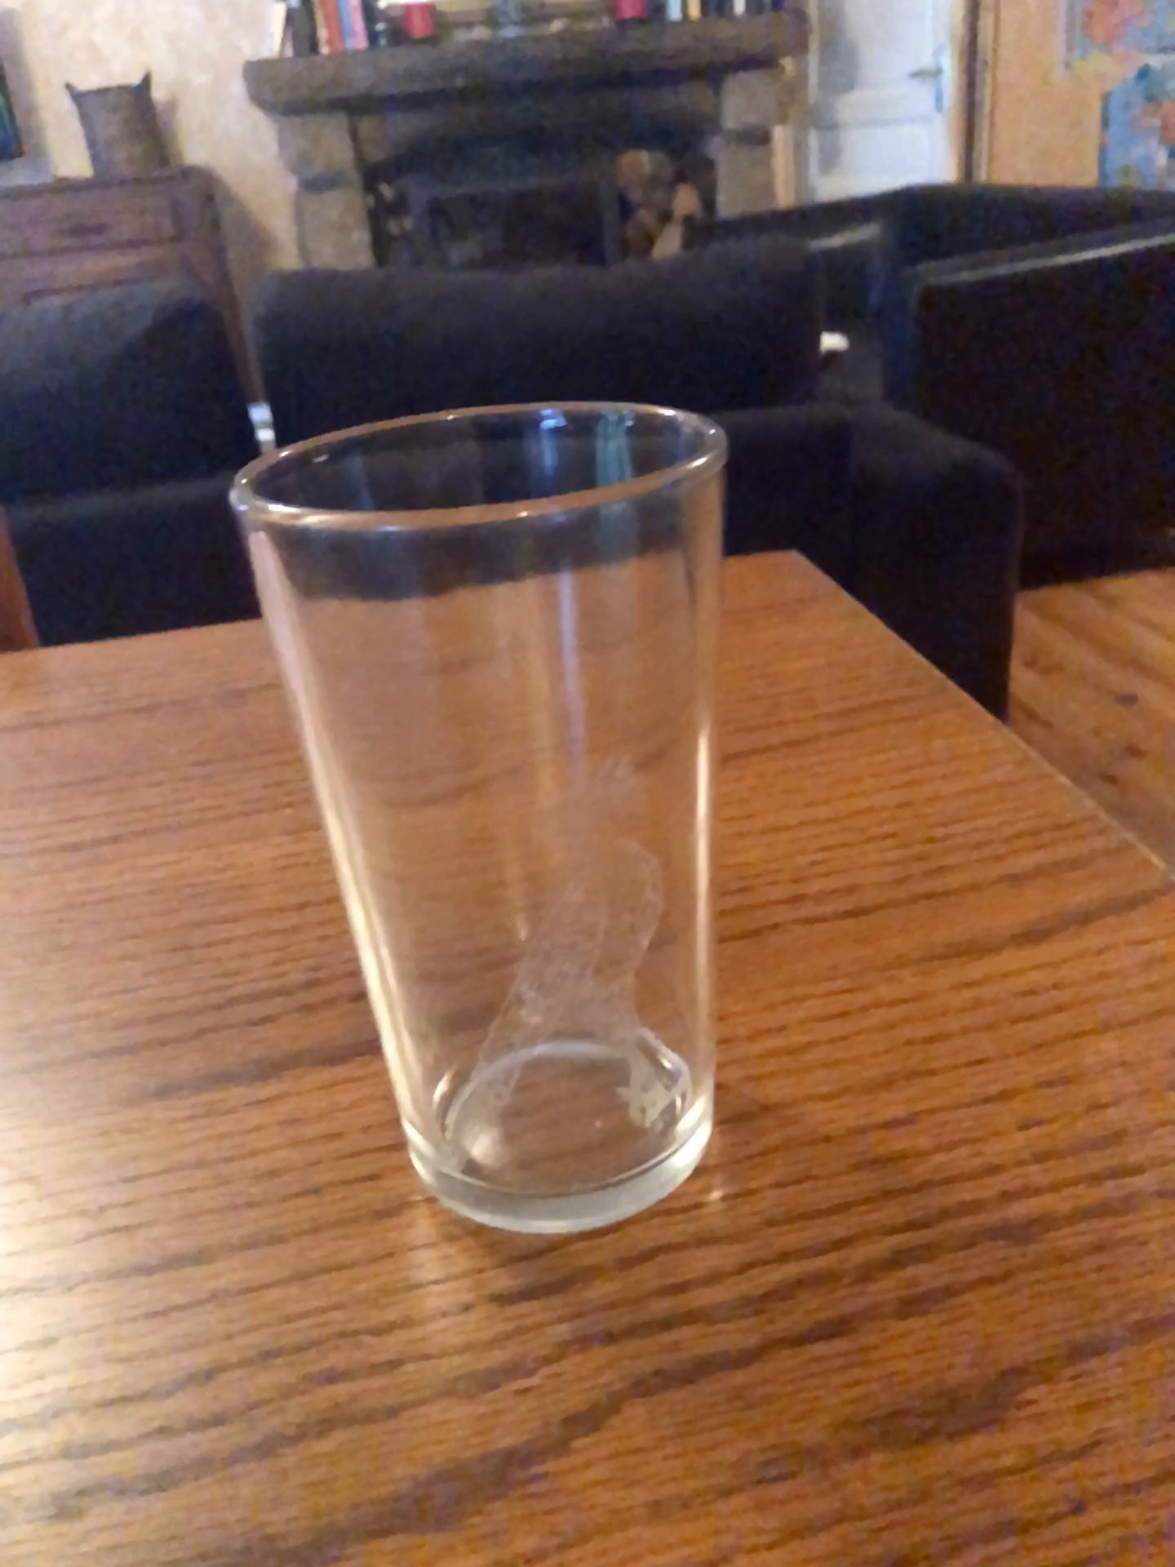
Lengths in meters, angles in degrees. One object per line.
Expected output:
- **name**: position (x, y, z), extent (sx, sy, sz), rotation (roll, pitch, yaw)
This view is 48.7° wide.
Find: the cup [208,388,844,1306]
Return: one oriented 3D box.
- **cup**: position (-0.011, 0.006, 0.264), extent (0.091, 0.144, 0.090), rotation (-5, 25, 2)
